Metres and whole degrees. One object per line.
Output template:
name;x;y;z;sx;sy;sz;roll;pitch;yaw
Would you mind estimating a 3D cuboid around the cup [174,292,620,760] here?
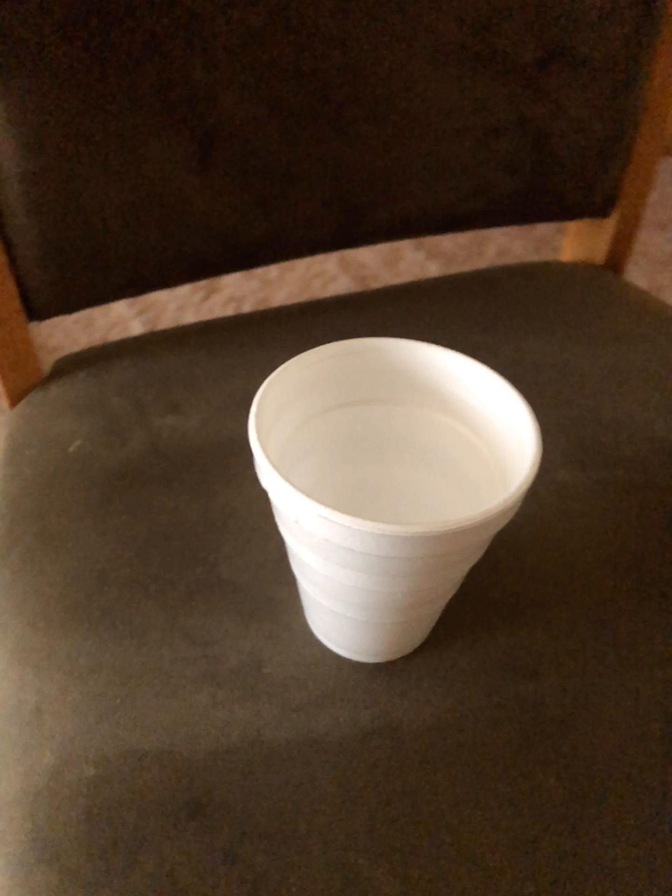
cup;0.016;0.020;0.242;0.090;0.080;0.090;3;46;-3
